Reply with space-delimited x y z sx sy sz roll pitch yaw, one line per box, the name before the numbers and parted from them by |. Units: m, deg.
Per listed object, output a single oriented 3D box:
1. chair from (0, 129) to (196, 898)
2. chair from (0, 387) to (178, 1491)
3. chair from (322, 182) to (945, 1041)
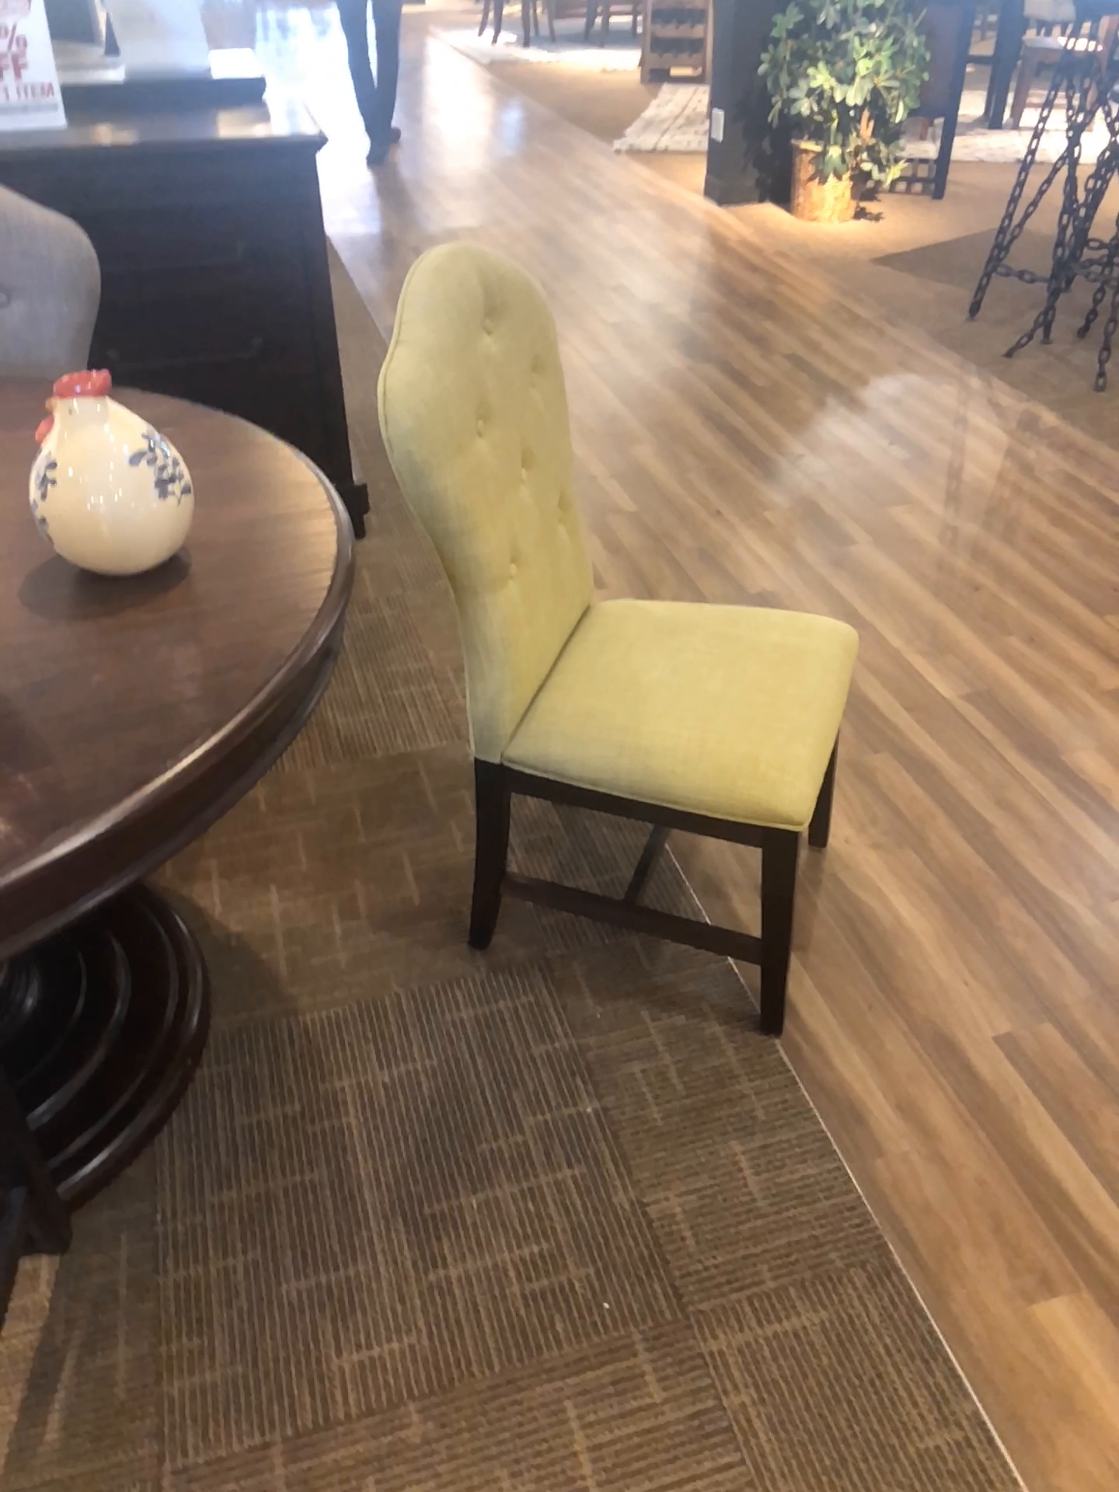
chair | -0.915 -0.366 1.910 0.508 0.950 0.638 -8 37 -10
chair | -0.677 0.307 0.962 0.518 0.960 0.578 -6 37 -8
chair | 0.121 -0.183 1.716 0.615 0.980 0.541 10 38 13
